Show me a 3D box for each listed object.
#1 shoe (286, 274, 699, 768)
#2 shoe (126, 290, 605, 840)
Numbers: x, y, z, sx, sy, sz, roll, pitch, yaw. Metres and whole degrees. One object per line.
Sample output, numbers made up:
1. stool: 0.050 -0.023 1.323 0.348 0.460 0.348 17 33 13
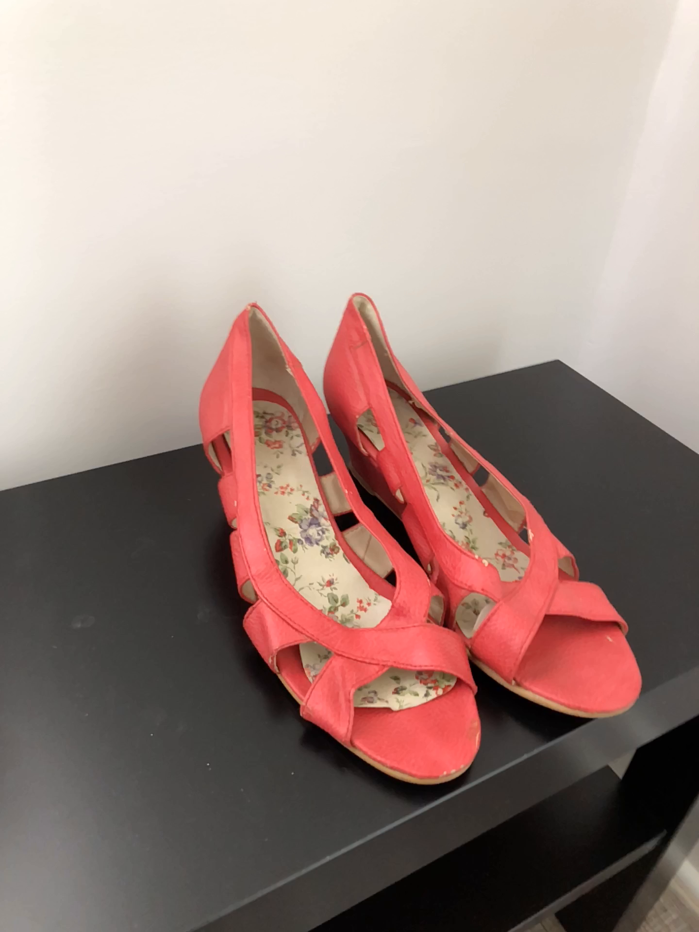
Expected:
1. shoe: 0.058 0.005 0.365 0.077 0.100 0.231 -16 41 -27
2. shoe: -0.015 0.020 0.333 0.087 0.100 0.221 -16 41 -27
